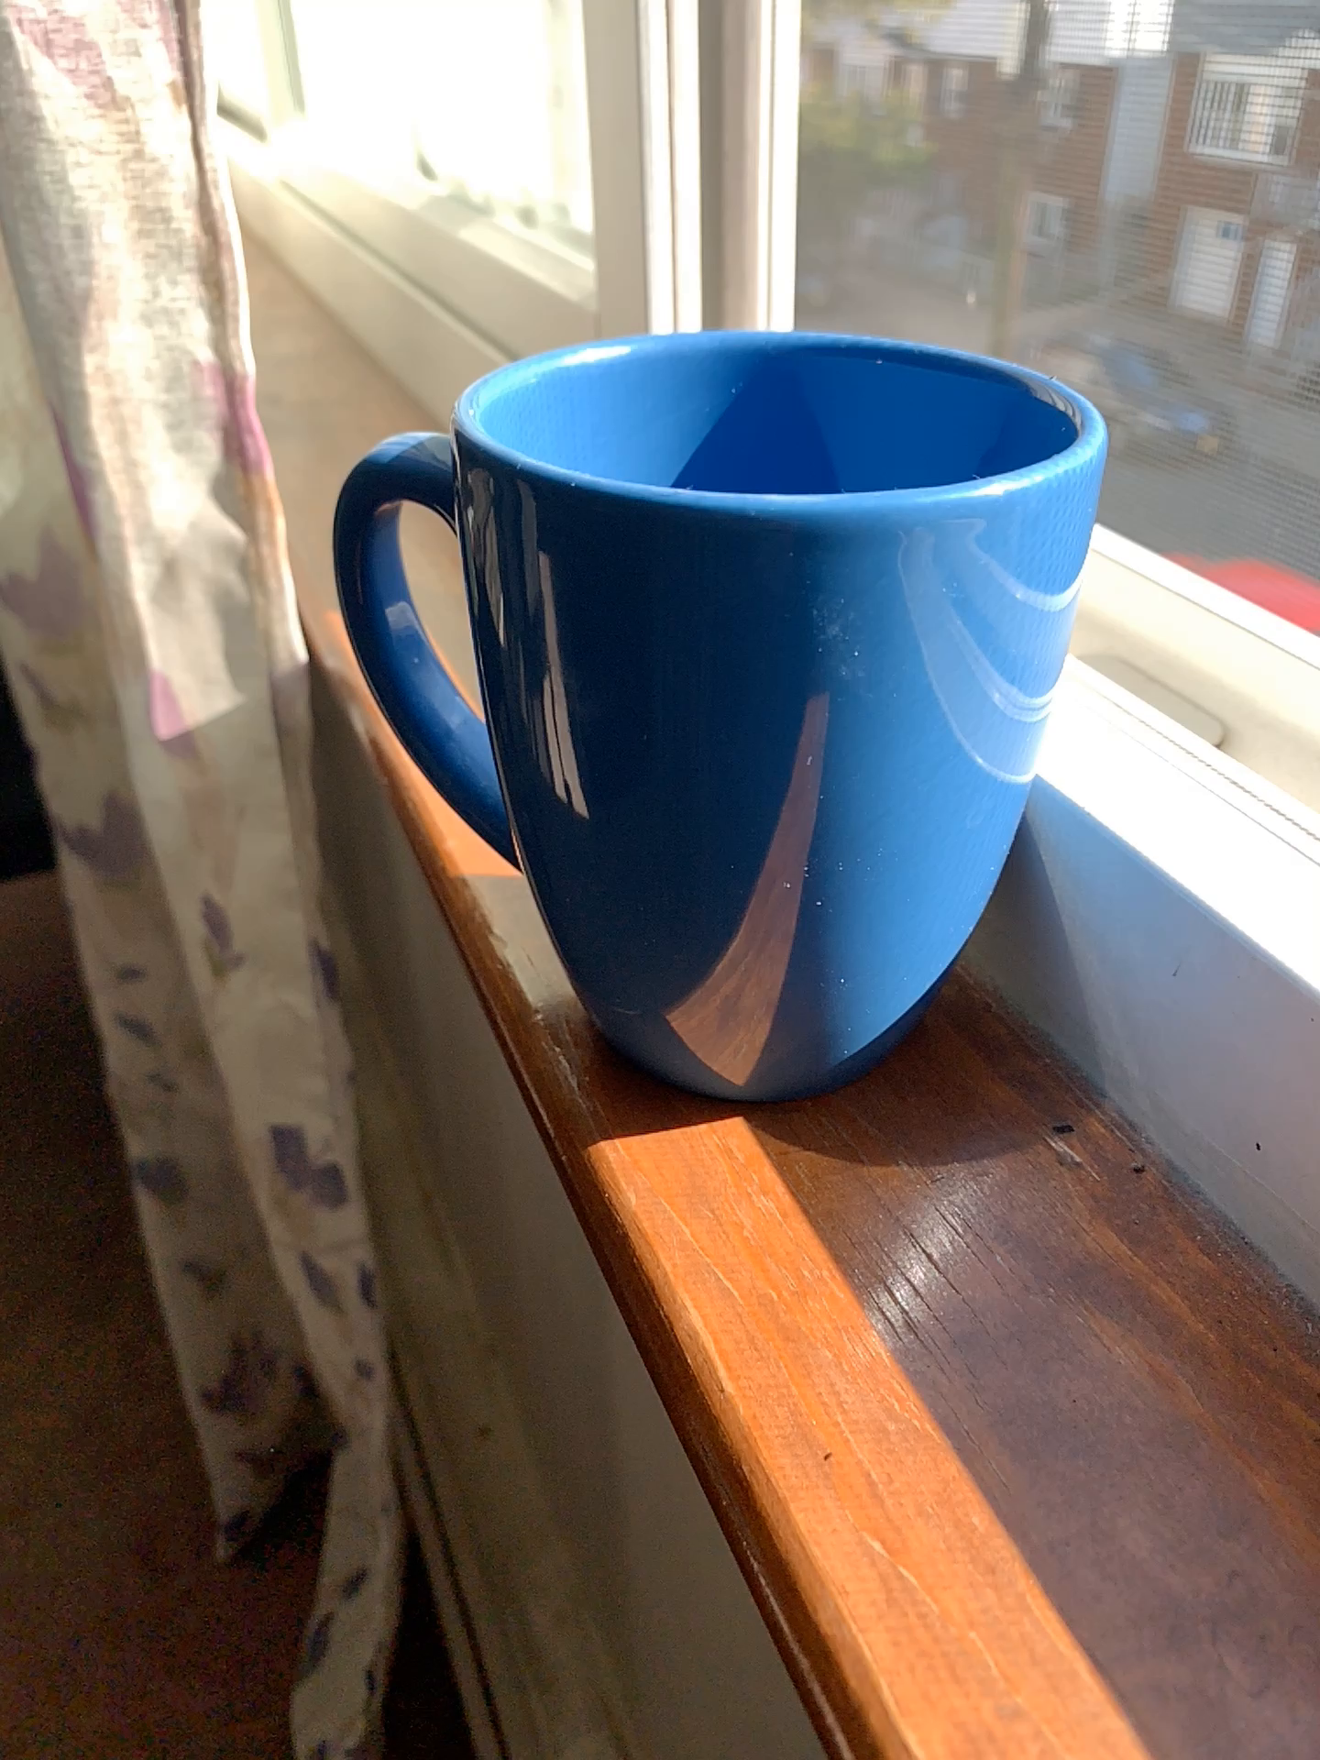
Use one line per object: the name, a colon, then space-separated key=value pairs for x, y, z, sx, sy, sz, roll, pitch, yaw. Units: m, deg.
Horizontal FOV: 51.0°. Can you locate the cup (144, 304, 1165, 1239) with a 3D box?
cup: x=0.003 y=-0.026 z=0.213 sx=0.113 sy=0.095 sz=0.082 roll=16 pitch=38 yaw=24
